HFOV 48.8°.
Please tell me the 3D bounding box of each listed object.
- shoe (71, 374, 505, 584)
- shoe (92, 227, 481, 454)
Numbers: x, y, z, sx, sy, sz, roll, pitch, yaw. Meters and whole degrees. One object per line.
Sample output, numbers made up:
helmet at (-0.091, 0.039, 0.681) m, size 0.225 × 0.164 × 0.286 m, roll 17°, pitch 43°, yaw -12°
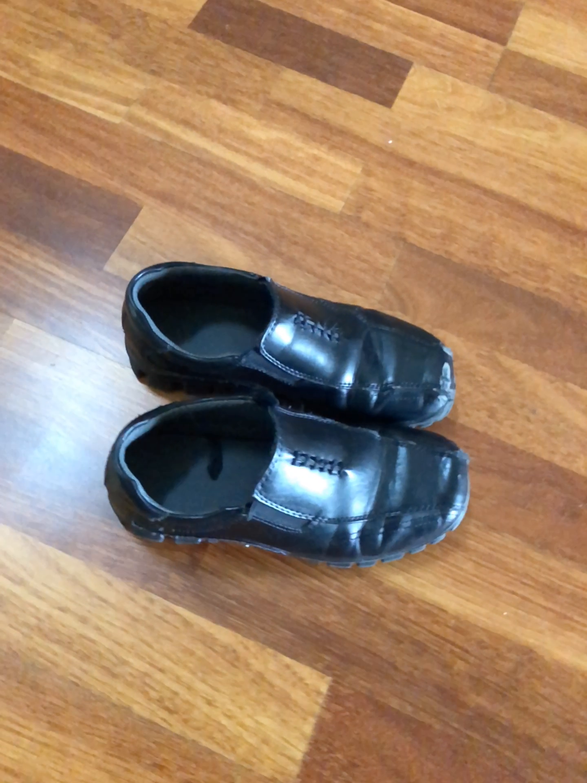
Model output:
shoe at (-0.001, 0.058, 0.397) m, size 0.232 × 0.075 × 0.094 m, roll 5°, pitch 67°, yaw -3°
shoe at (-0.001, -0.031, 0.437) m, size 0.232 × 0.075 × 0.091 m, roll 10°, pitch 67°, yaw -1°
